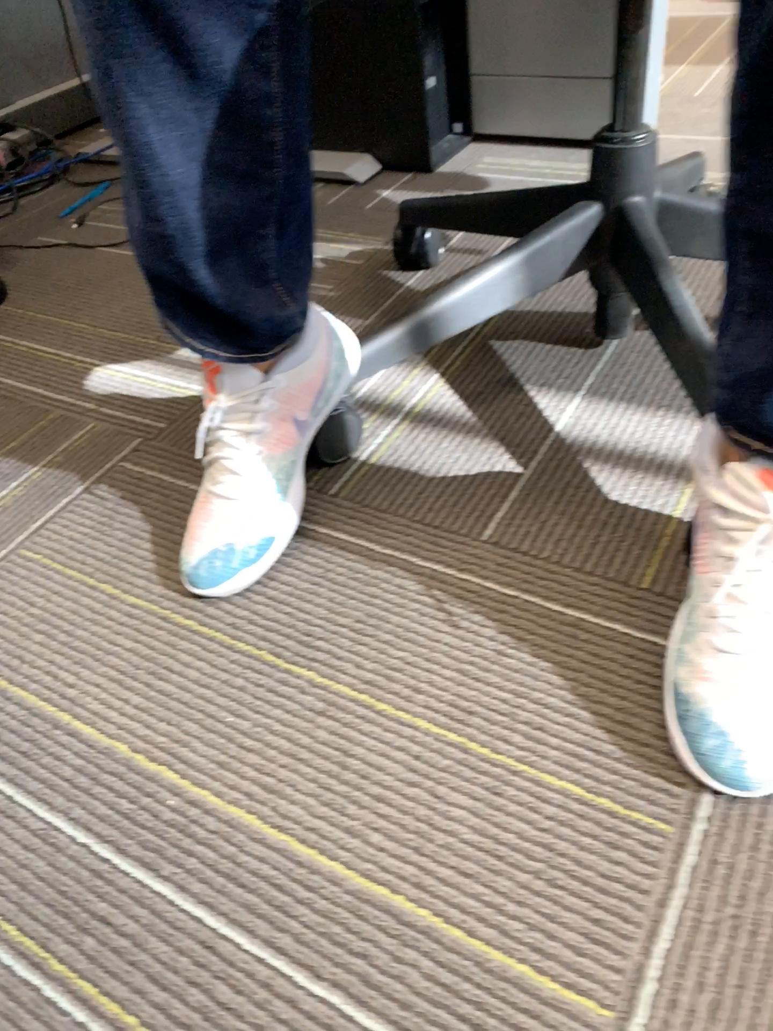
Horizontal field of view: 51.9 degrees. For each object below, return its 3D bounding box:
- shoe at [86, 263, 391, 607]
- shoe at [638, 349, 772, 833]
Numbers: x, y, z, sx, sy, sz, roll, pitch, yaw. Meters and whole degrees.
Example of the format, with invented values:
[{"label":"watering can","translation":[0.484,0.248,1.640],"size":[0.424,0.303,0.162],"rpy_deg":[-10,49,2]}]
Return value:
[{"label":"shoe","translation":[-0.110,-0.085,0.699],"size":[0.107,0.109,0.303],"rpy_deg":[11,53,22]},{"label":"shoe","translation":[0.249,0.034,0.550],"size":[0.113,0.109,0.311],"rpy_deg":[6,55,17]}]
